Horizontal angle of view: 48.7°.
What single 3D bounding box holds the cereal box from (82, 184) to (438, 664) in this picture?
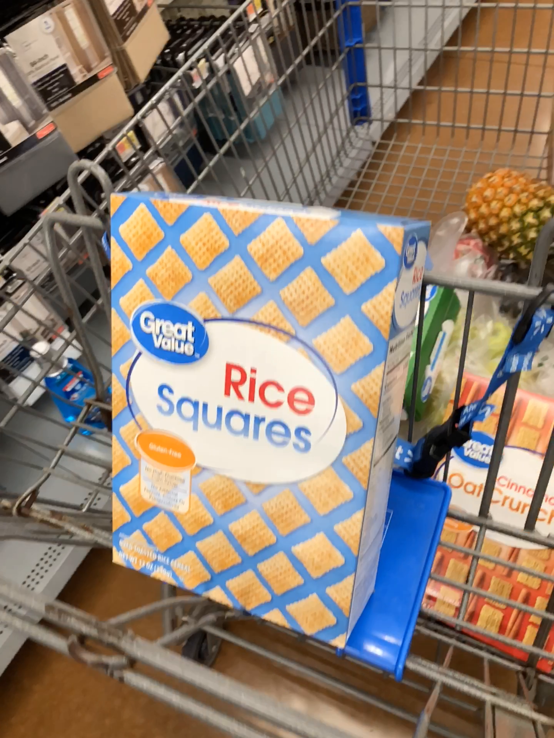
[{"bbox_3d":[-0.023,0.026,0.426,0.210,0.280,0.080,12,19,22],"label":"cereal box"}]
